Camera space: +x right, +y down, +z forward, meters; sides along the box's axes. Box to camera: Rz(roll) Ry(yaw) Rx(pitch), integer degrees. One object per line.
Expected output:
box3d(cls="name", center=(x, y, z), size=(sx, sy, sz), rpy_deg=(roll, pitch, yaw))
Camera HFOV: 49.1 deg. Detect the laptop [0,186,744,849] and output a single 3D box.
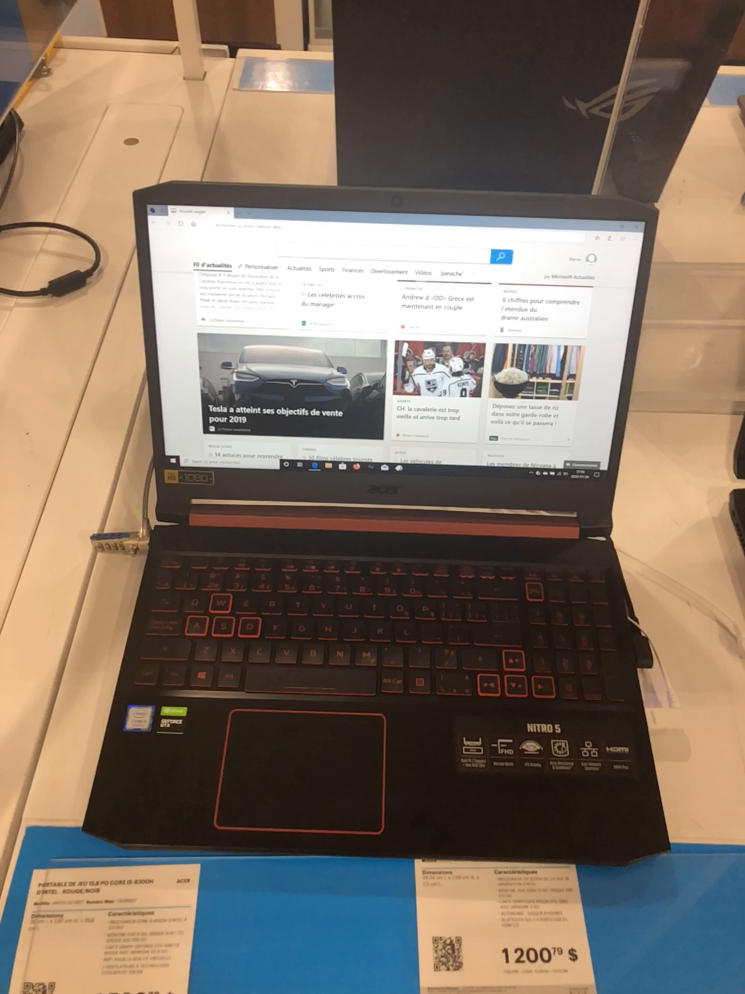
box3d(cls="laptop", center=(0.011, 0.003, 0.527), size=(0.357, 0.211, 0.360), rpy_deg=(2, 52, 0))
